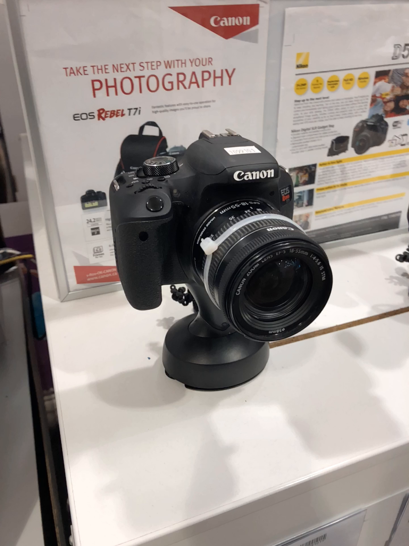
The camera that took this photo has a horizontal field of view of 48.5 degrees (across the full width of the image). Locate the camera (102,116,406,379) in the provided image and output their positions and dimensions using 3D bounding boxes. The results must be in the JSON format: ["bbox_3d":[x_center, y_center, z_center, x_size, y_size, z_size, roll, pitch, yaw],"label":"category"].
[{"bbox_3d":[0.017,-0.028,0.277,0.130,0.100,0.120,-10,32,-16],"label":"camera"}]
